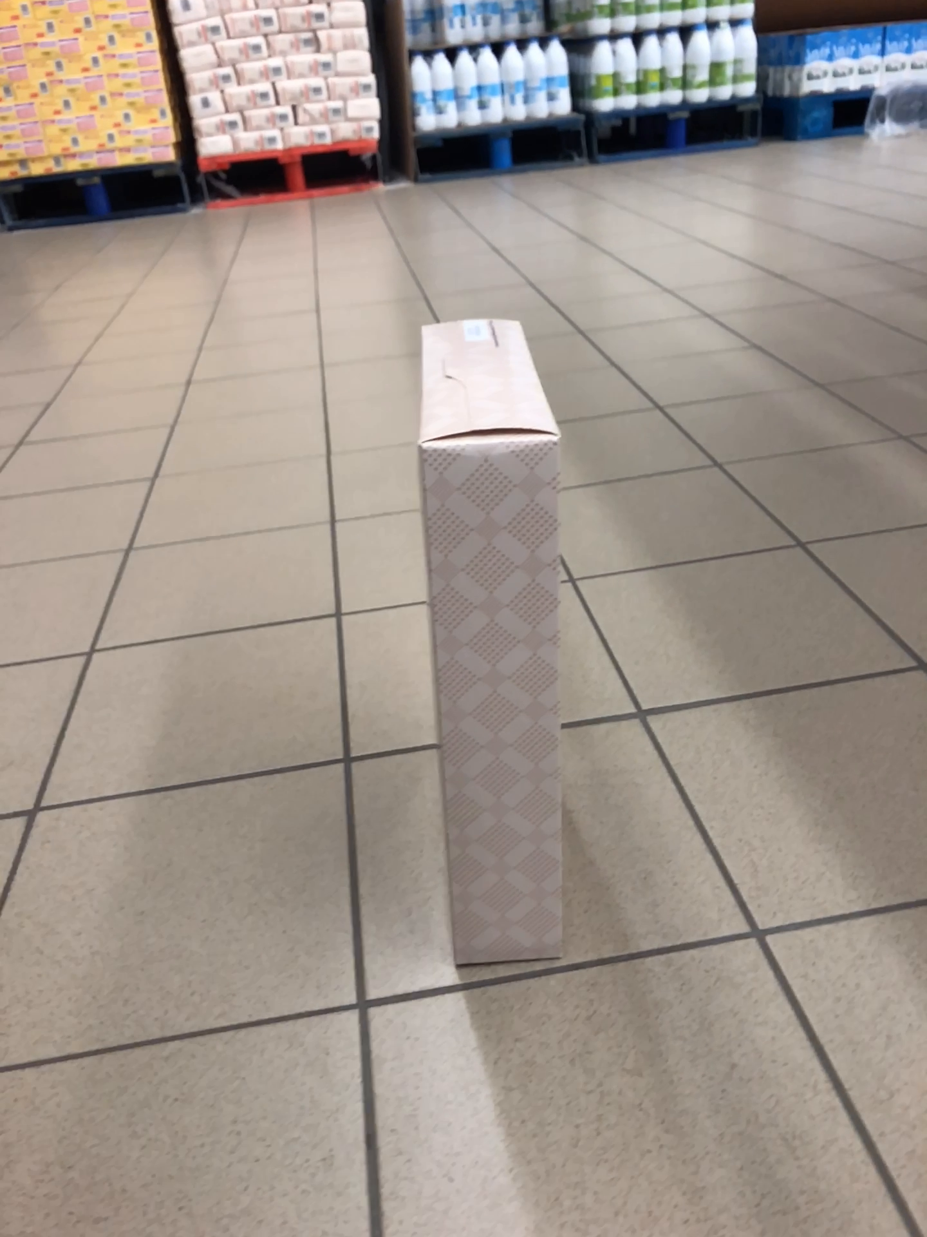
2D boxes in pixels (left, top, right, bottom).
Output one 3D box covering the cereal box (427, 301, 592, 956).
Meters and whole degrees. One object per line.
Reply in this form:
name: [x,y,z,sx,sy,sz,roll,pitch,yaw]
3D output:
cereal box: [0.021,-0.003,0.523,0.060,0.269,0.201,-3,28,0]
